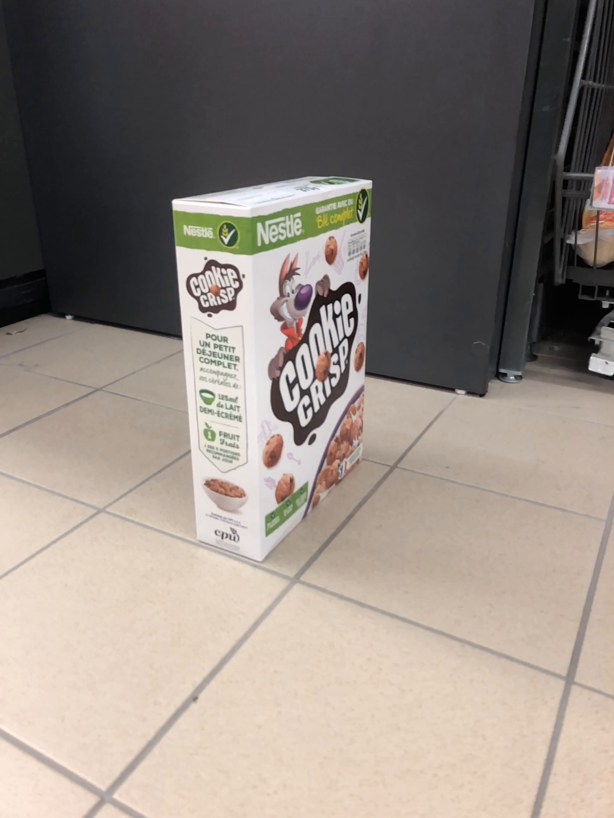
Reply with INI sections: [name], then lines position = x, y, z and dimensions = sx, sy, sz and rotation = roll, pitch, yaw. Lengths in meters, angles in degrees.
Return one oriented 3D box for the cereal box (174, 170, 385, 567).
[cereal box]
position = -0.010, -0.044, 0.550
dimensions = 0.060, 0.268, 0.201
rotation = 13, 28, 26
